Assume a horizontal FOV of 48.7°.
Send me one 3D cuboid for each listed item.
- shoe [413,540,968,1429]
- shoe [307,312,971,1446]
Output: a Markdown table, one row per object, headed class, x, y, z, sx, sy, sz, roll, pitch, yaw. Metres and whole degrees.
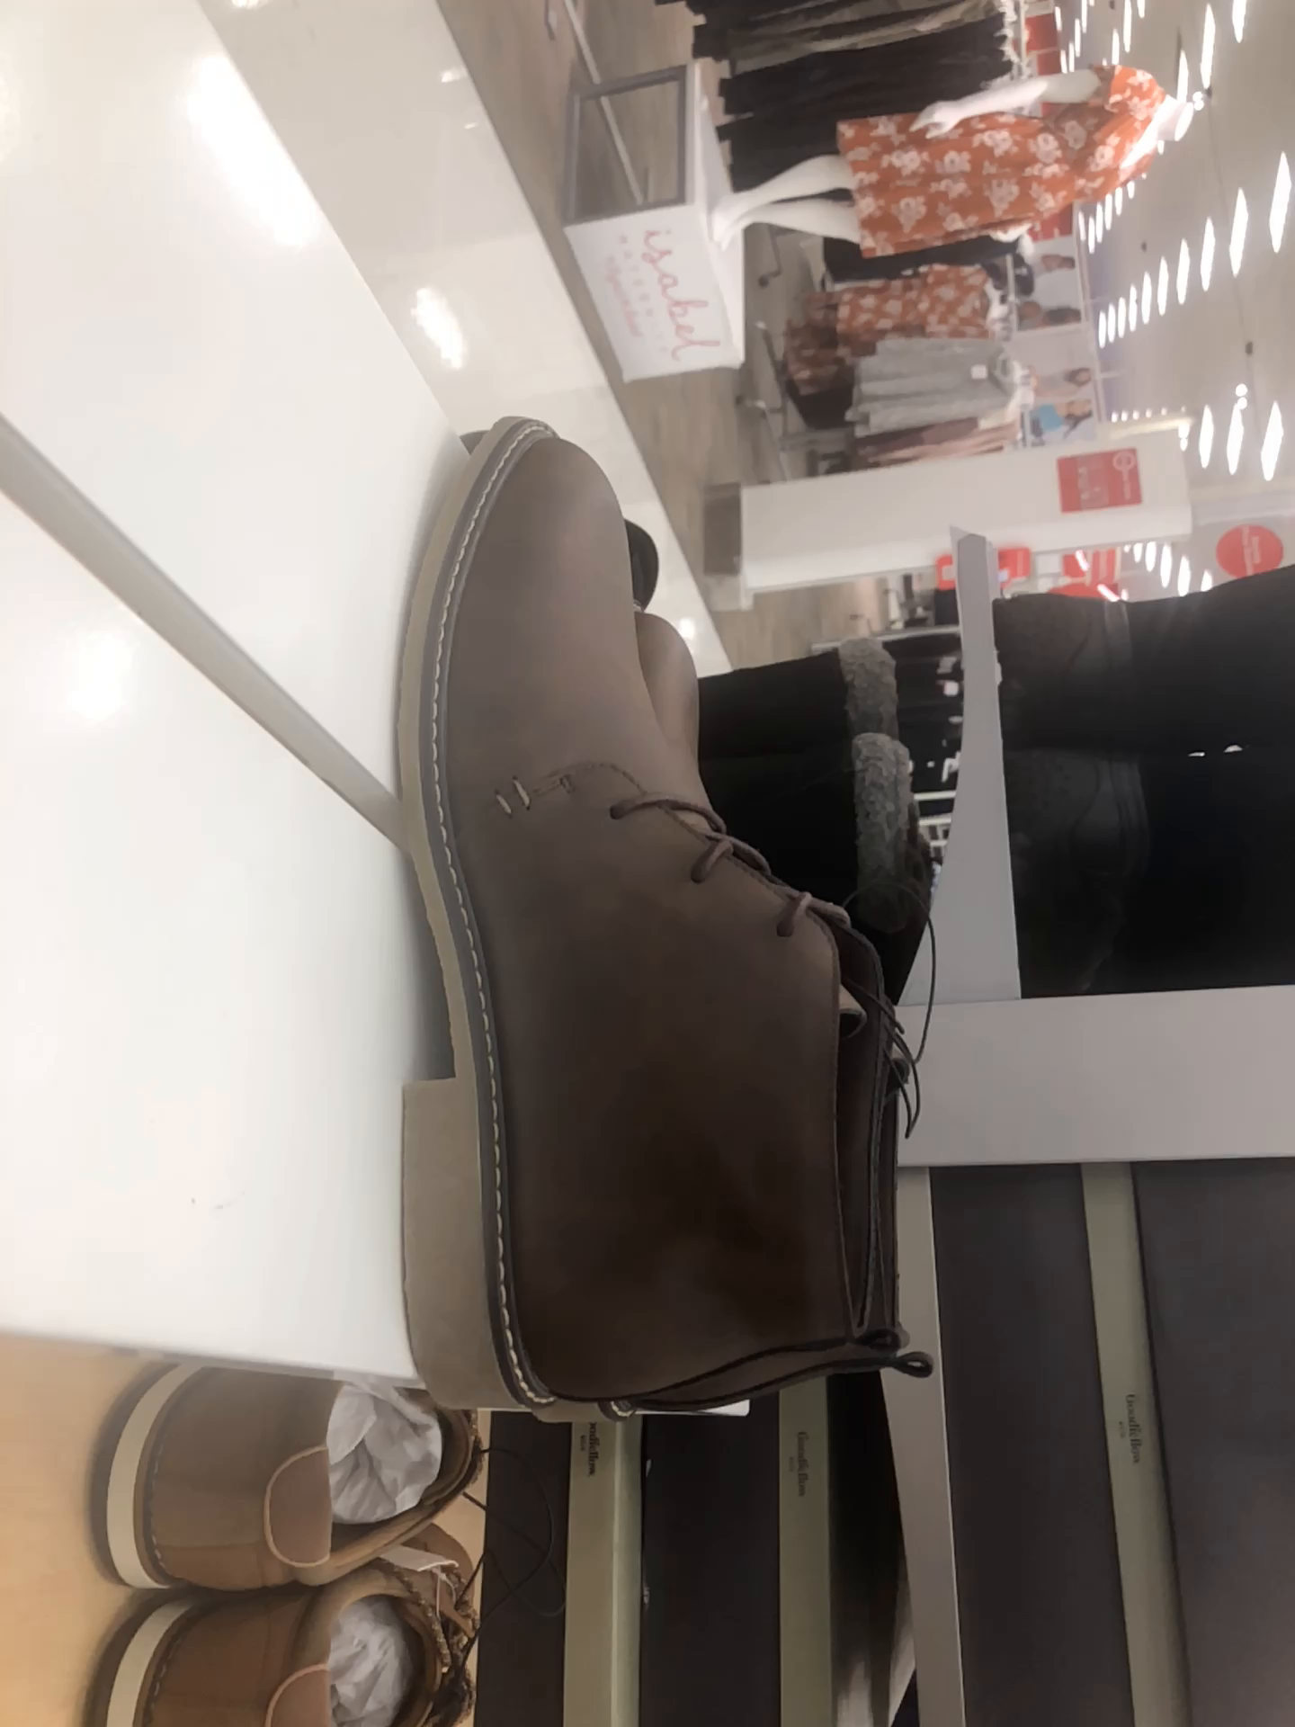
| class | x | y | z | sx | sy | sz | roll | pitch | yaw |
| --- | --- | --- | --- | --- | --- | --- | --- | --- | --- |
| shoe | 0.030 | 0.048 | 0.566 | 0.133 | 0.173 | 0.314 | 65 | 25 | -62 |
| shoe | 0.006 | 0.009 | 0.463 | 0.128 | 0.173 | 0.314 | 49 | 39 | -72 |
